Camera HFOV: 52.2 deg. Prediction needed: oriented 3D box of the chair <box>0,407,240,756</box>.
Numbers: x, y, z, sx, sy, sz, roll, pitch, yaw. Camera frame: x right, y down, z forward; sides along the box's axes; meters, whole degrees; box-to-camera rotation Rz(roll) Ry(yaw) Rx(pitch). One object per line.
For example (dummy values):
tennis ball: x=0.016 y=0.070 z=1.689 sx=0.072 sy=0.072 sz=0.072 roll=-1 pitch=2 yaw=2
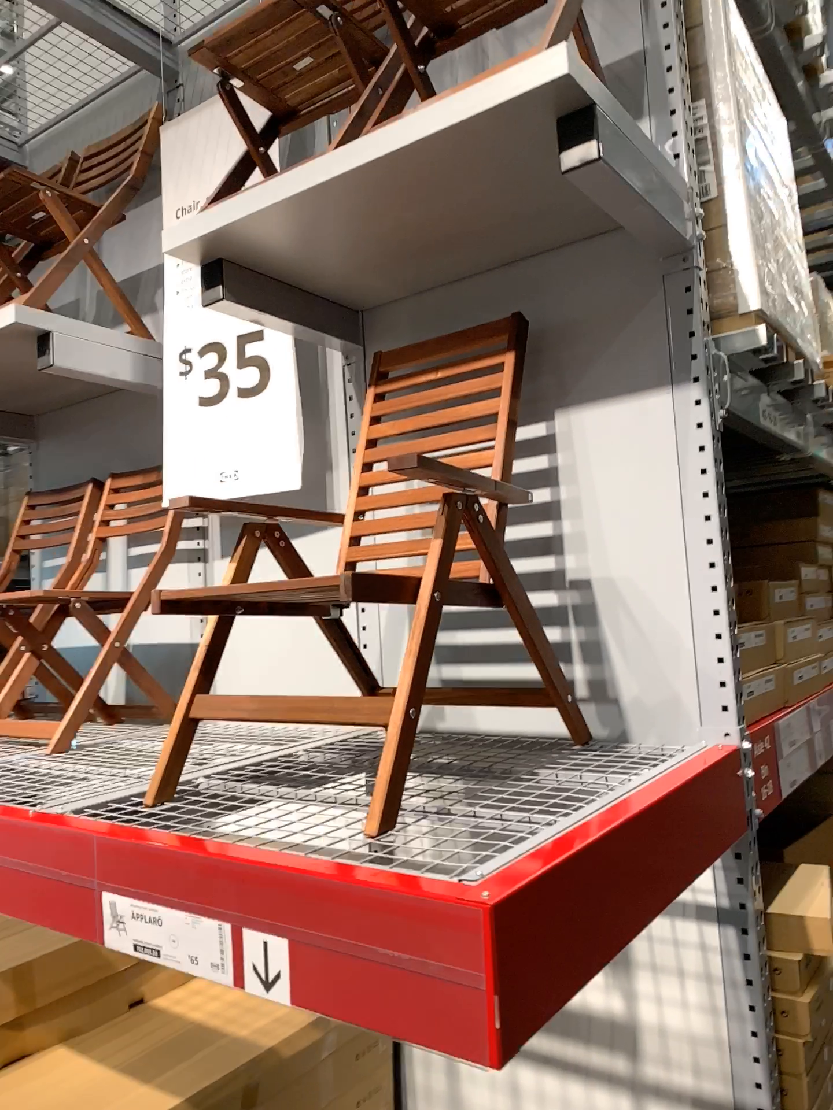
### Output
chair: x=-1.006 y=0.093 z=2.580 sx=0.615 sy=0.885 sz=0.630 roll=-6 pitch=-5 yaw=34

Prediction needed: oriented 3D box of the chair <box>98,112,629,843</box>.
chair: x=-0.062 y=-0.094 z=1.750 sx=0.615 sy=1.055 sz=0.890 roll=-6 pitch=-5 yaw=34

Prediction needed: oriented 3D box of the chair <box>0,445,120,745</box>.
chair: x=-1.497 y=0.144 z=2.934 sx=0.615 sy=0.885 sz=0.630 roll=-7 pitch=-5 yaw=36
